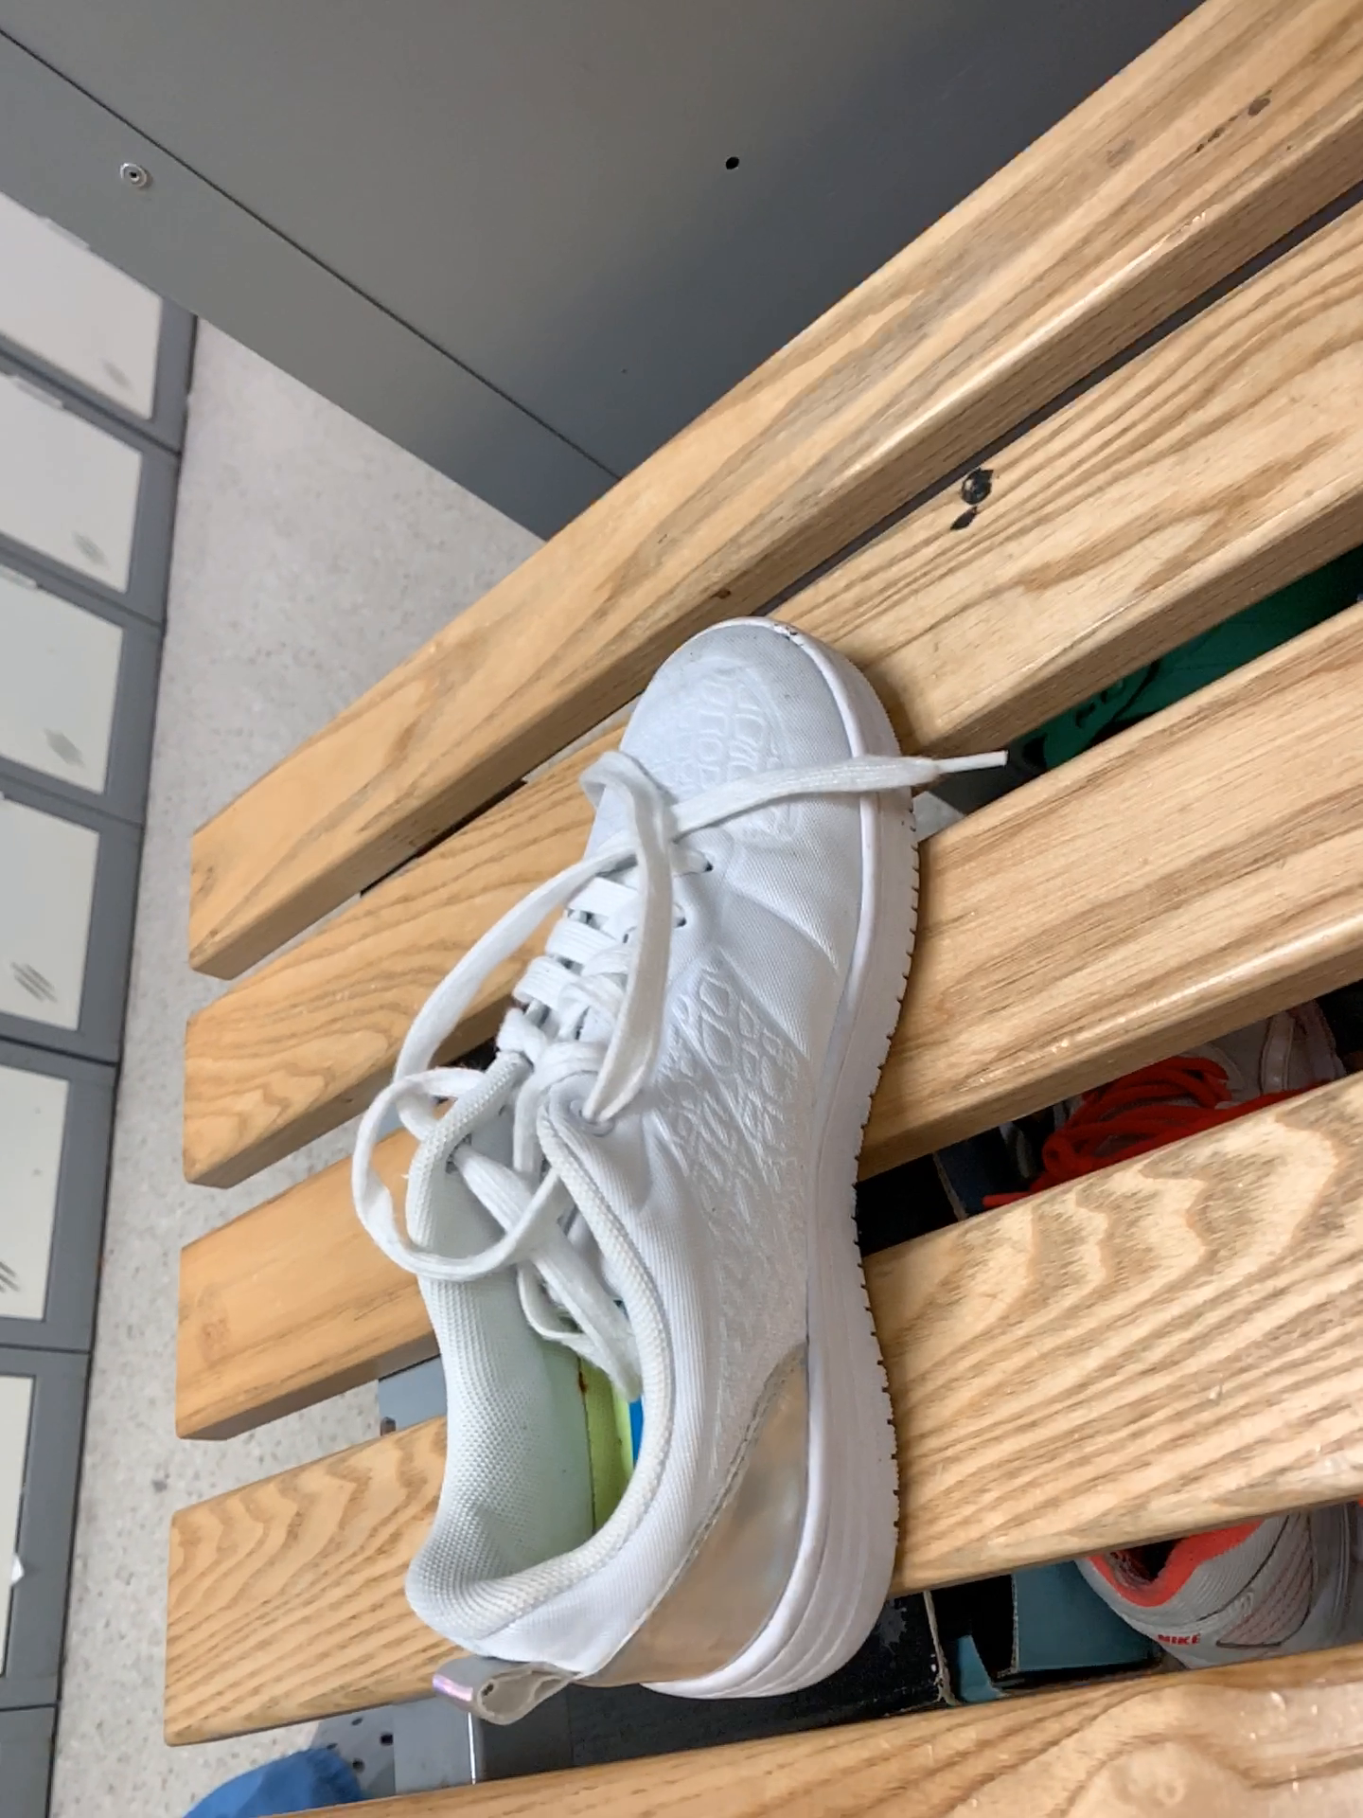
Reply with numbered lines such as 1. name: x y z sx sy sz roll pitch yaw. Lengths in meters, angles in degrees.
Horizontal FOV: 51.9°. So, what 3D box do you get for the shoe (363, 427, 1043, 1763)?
1. shoe: 0.001 0.034 0.310 0.100 0.075 0.251 -21 59 37
